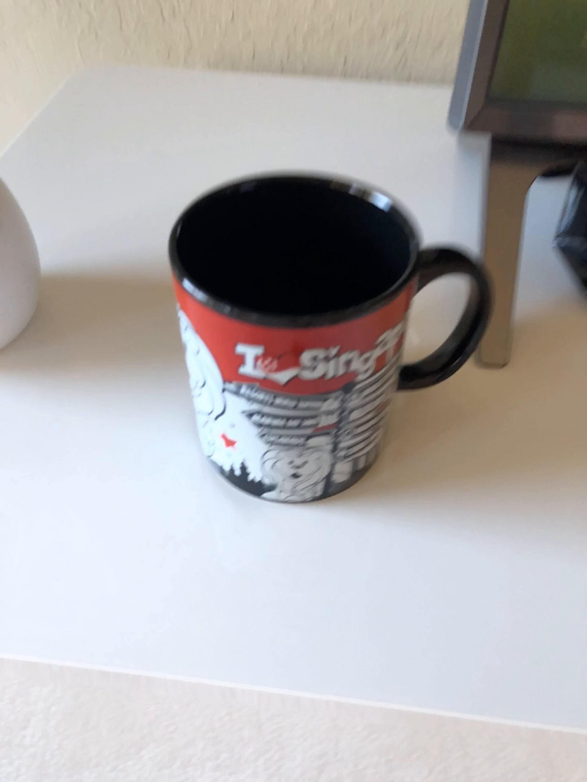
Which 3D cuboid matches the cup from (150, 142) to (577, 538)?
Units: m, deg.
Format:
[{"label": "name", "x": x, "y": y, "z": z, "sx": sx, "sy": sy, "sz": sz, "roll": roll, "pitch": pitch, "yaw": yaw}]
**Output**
[{"label": "cup", "x": 0.018, "y": -0.019, "z": 0.254, "sx": 0.120, "sy": 0.110, "sz": 0.080, "roll": -11, "pitch": 48, "yaw": -11}]
